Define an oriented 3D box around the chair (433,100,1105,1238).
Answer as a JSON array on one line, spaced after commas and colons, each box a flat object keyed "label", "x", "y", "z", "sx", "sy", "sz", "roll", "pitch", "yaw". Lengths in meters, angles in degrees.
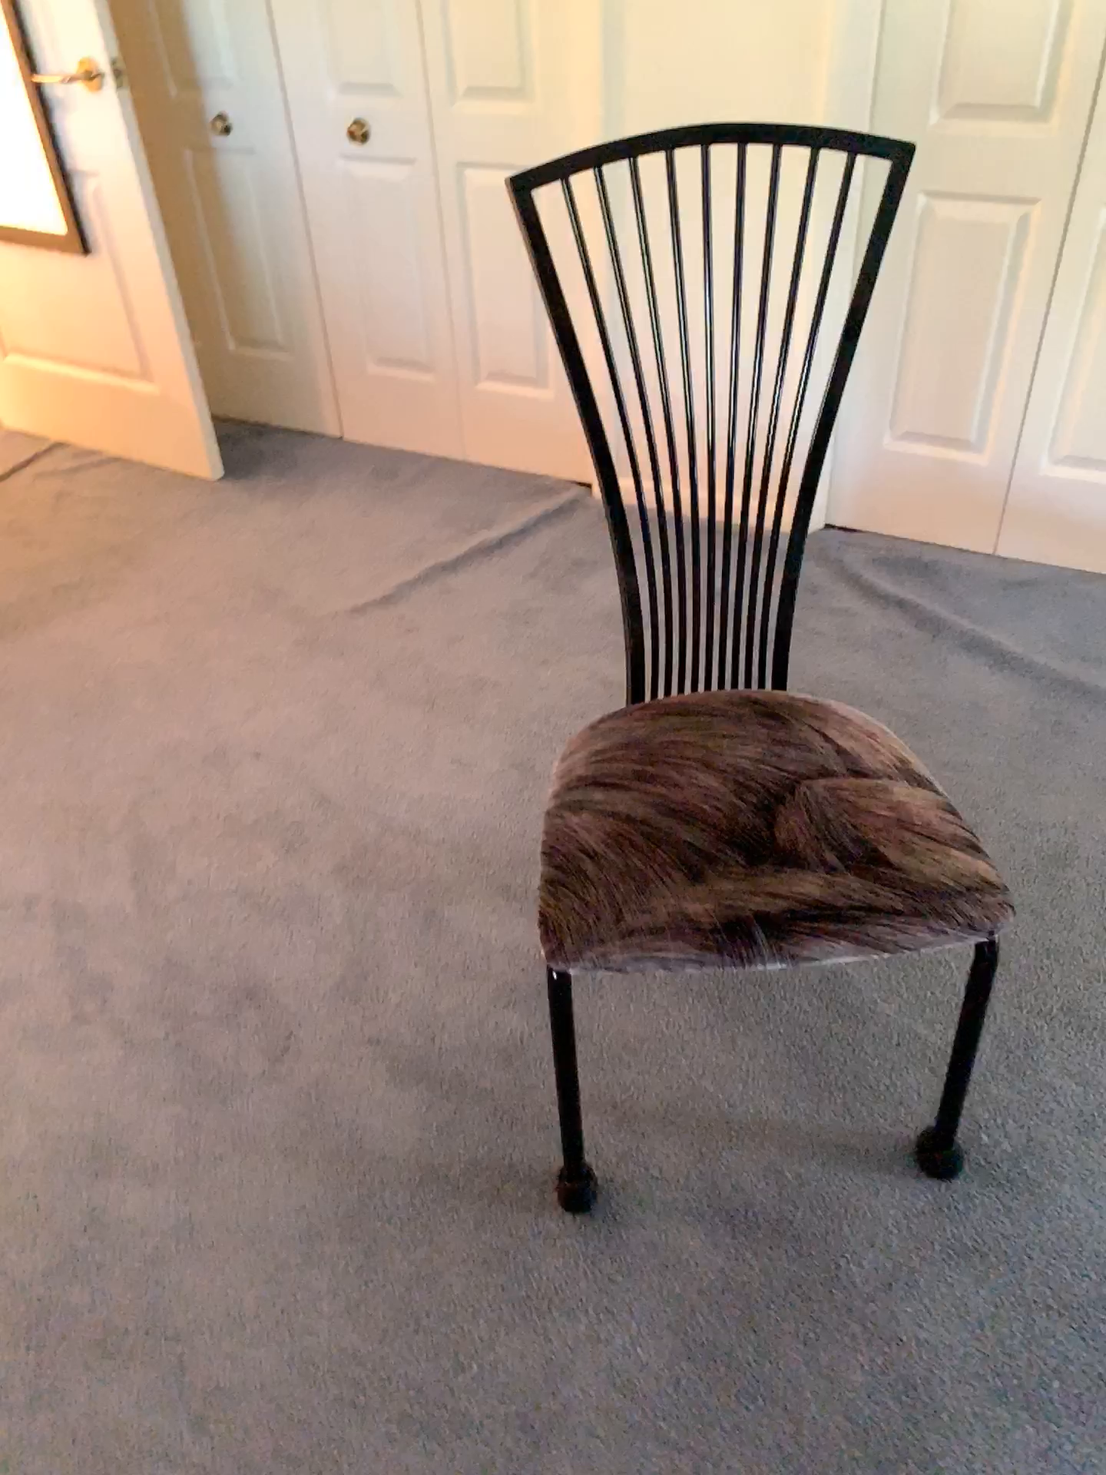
[{"label": "chair", "x": 0.195, "y": -0.032, "z": 1.146, "sx": 0.510, "sy": 0.975, "sz": 0.543, "roll": -6, "pitch": 38, "yaw": -3}]
